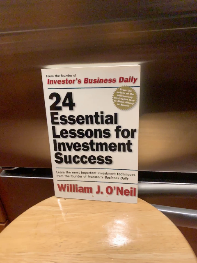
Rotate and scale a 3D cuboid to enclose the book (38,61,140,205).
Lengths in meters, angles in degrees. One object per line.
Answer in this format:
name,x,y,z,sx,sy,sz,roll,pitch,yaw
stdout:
book,-0.009,0.008,0.340,0.150,0.229,0.030,1,17,12
